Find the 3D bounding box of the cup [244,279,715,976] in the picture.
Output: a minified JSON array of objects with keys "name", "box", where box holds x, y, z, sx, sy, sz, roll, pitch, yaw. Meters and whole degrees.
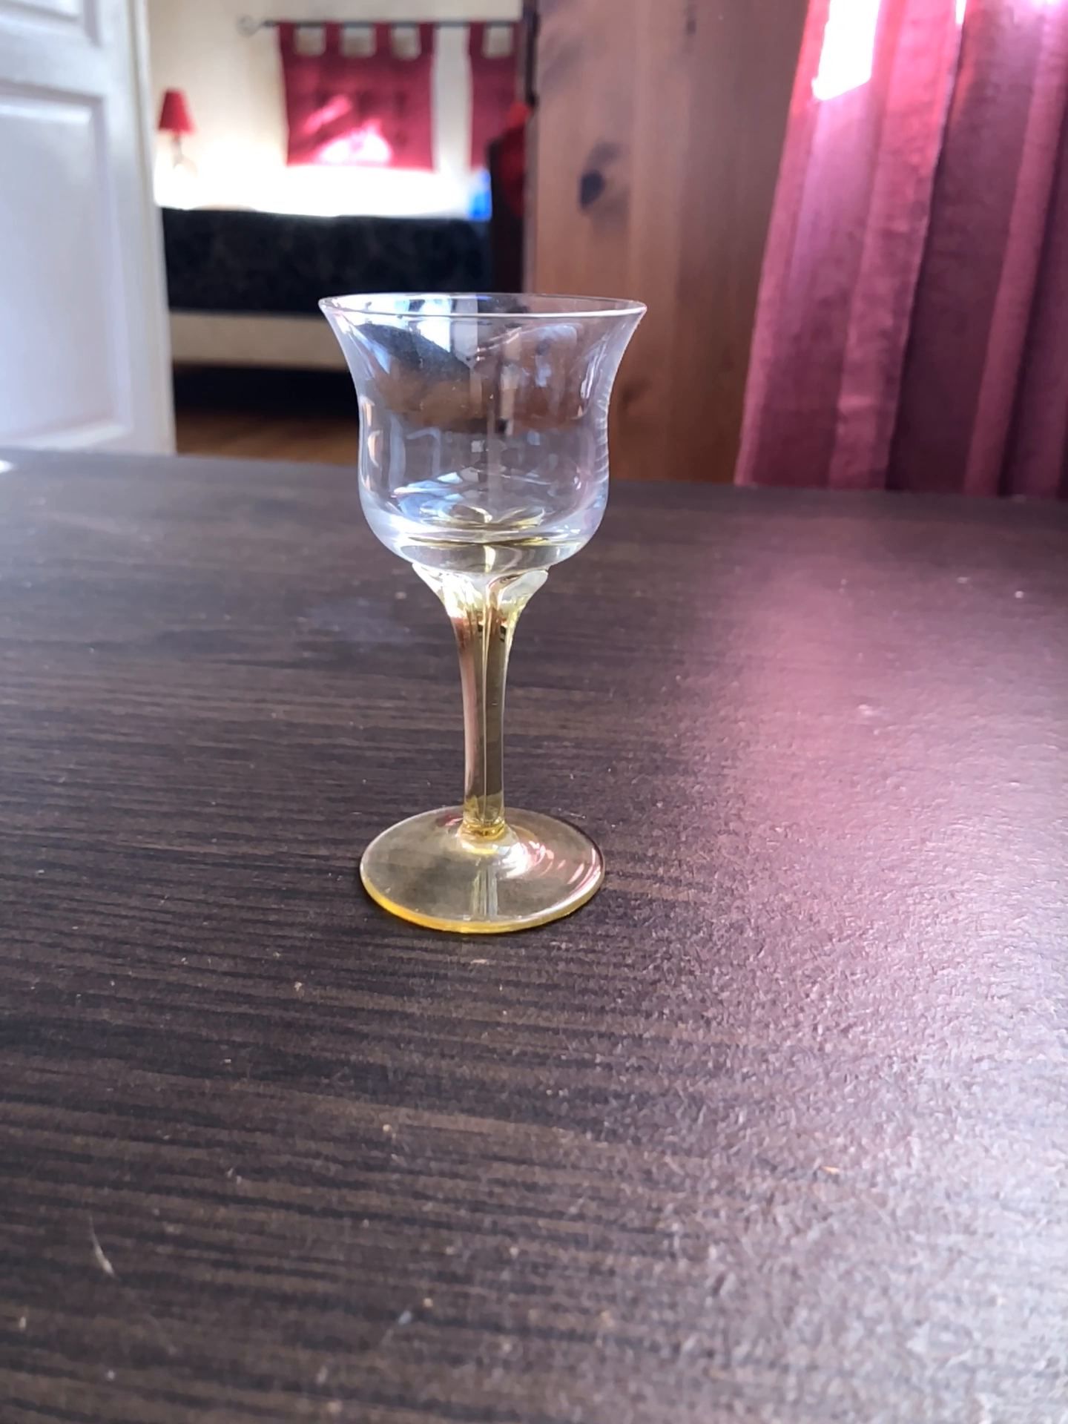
[{"name":"cup","box":[-0.006,-0.016,0.187,0.058,0.093,0.051,5,21,7]}]
